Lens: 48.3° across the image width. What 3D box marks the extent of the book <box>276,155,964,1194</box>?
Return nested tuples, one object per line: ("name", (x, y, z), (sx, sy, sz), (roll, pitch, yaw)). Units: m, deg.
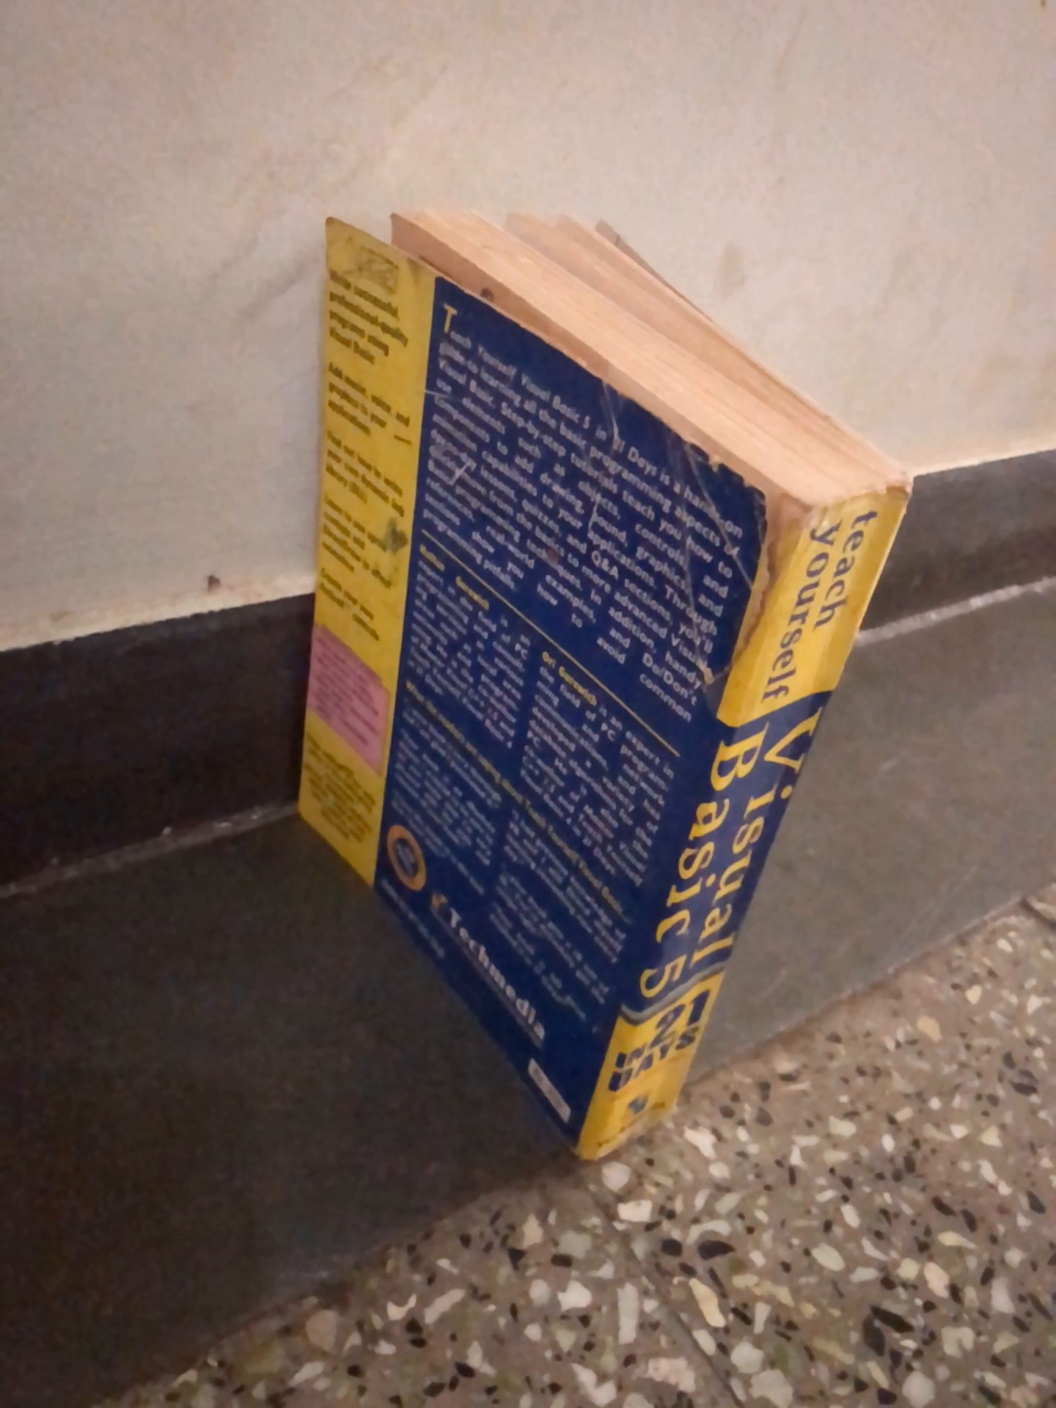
("book", (-0.007, -0.021, 0.382), (0.060, 0.229, 0.251), (-15, 43, -25))
